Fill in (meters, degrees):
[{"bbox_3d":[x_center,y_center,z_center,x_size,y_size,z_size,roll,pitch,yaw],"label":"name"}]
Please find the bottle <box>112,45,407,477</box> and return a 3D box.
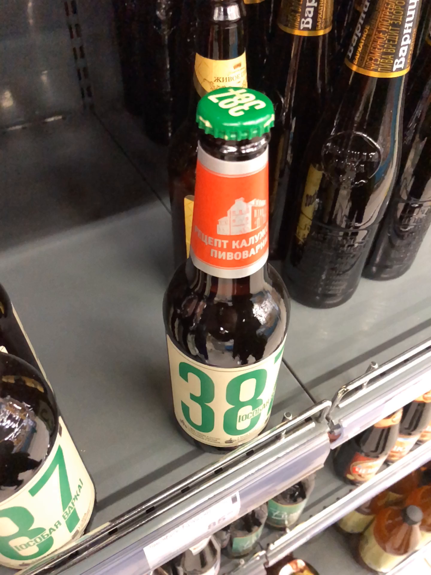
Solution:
[{"bbox_3d":[0.009,0.011,0.251,0.080,0.229,0.070,-15,51,-14],"label":"bottle"}]
